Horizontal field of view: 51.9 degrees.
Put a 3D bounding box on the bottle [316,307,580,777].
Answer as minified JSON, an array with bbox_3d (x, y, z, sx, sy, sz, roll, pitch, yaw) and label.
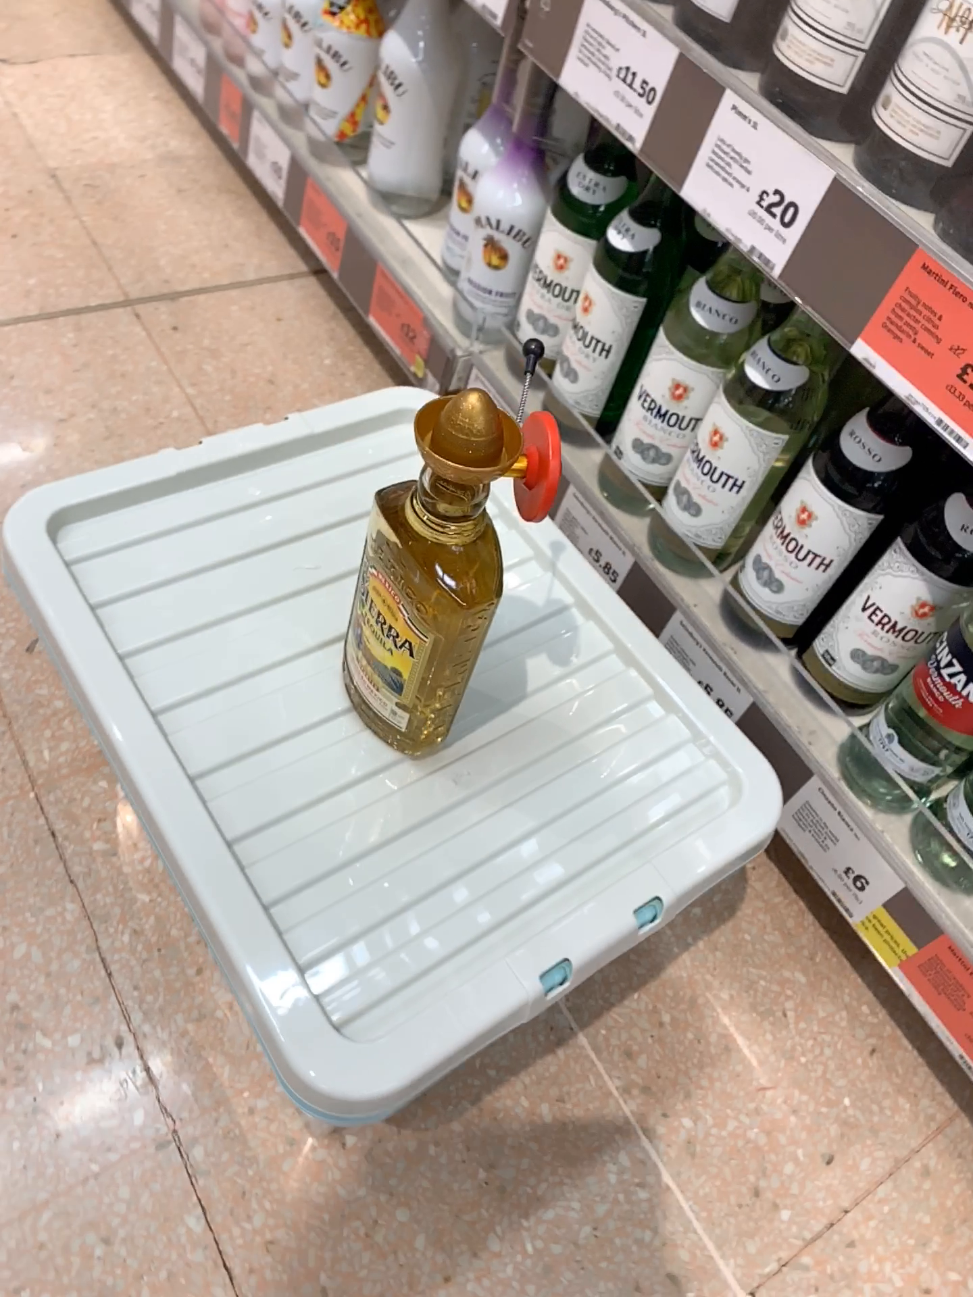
[{"bbox_3d":[-0.035,-0.043,0.553,0.058,0.258,0.100,-23,62,-28],"label":"bottle"}]
